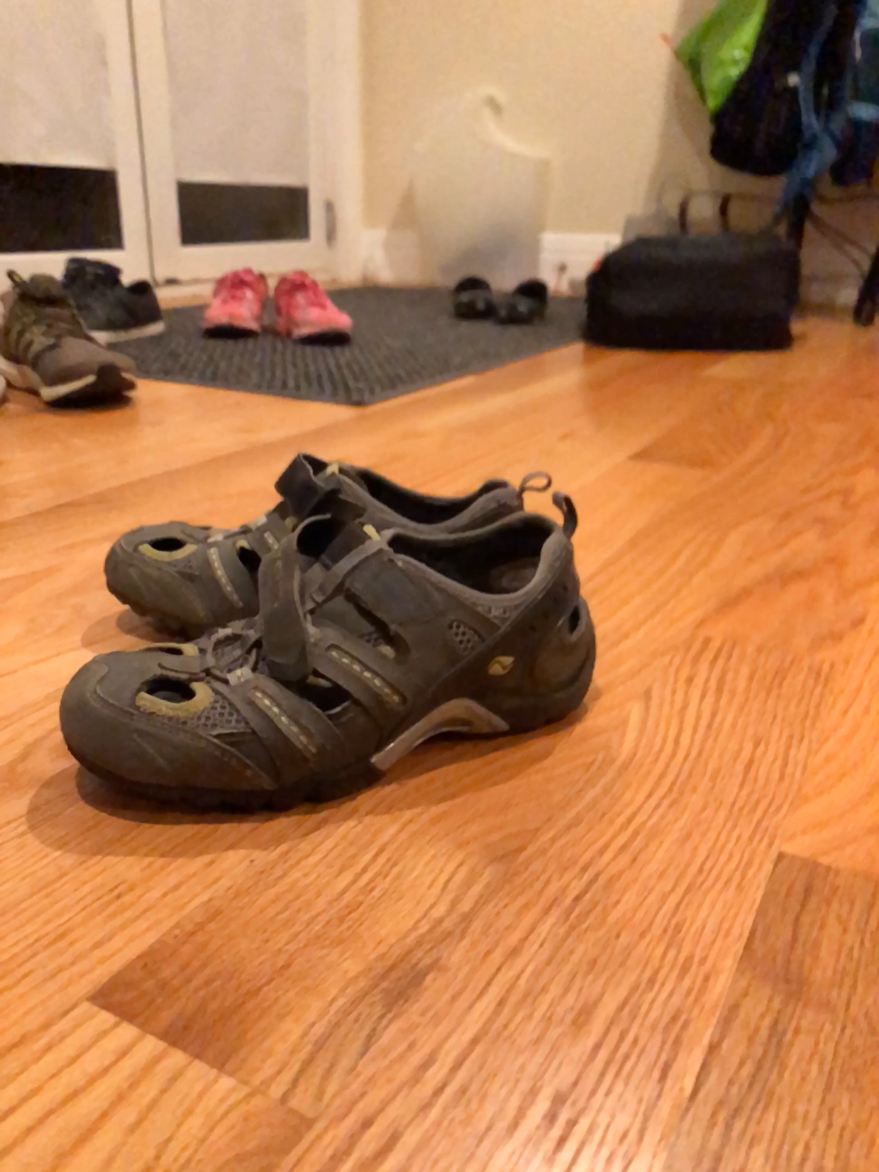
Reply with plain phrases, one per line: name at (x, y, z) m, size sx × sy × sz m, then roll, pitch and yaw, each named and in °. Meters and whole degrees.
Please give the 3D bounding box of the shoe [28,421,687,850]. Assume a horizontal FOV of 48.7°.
shoe at (-0.031, 0.005, 0.411) m, size 0.245 × 0.113 × 0.100 m, roll -9°, pitch 23°, yaw -24°

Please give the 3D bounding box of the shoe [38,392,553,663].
shoe at (-0.067, -0.036, 0.523) m, size 0.245 × 0.113 × 0.101 m, roll 2°, pitch 21°, yaw 3°
